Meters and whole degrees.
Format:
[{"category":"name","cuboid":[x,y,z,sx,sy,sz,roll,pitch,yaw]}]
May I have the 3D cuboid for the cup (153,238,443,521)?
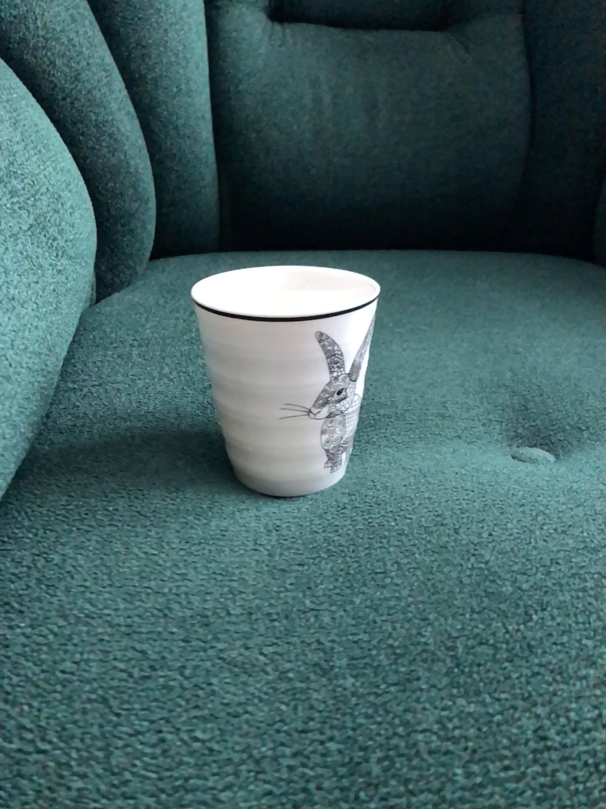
[{"category":"cup","cuboid":[0.002,-0.023,0.352,0.095,0.095,0.121,15,29,27]}]
